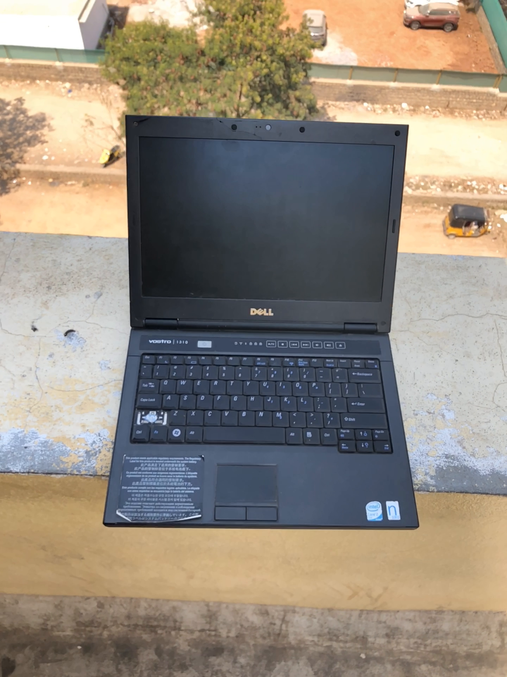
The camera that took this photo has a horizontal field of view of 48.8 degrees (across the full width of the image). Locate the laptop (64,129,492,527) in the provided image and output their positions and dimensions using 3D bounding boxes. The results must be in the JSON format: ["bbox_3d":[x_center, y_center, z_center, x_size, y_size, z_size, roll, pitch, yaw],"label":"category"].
[{"bbox_3d":[0.020,-0.023,0.576,0.301,0.178,0.377,2,55,0],"label":"laptop"}]
